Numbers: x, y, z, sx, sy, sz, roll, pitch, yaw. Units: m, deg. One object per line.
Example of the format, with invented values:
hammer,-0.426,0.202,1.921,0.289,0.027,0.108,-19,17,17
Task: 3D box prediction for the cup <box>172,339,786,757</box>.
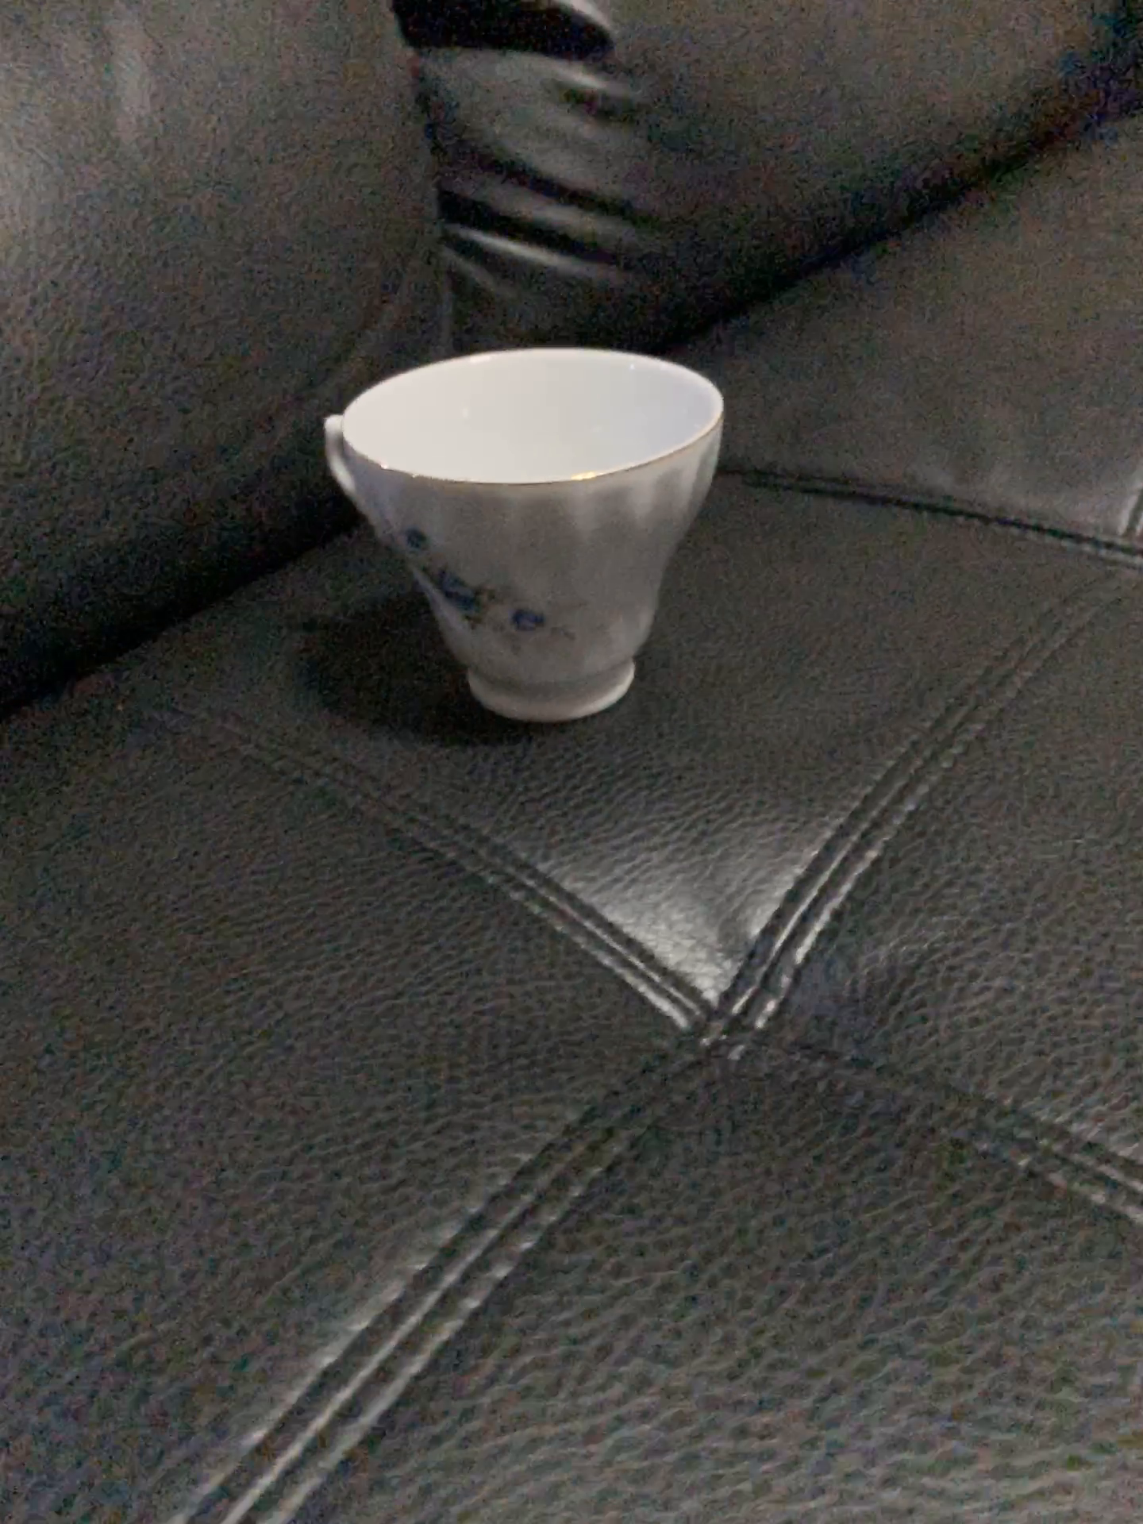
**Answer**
cup,-0.016,-0.060,0.293,0.113,0.059,0.094,11,34,20
